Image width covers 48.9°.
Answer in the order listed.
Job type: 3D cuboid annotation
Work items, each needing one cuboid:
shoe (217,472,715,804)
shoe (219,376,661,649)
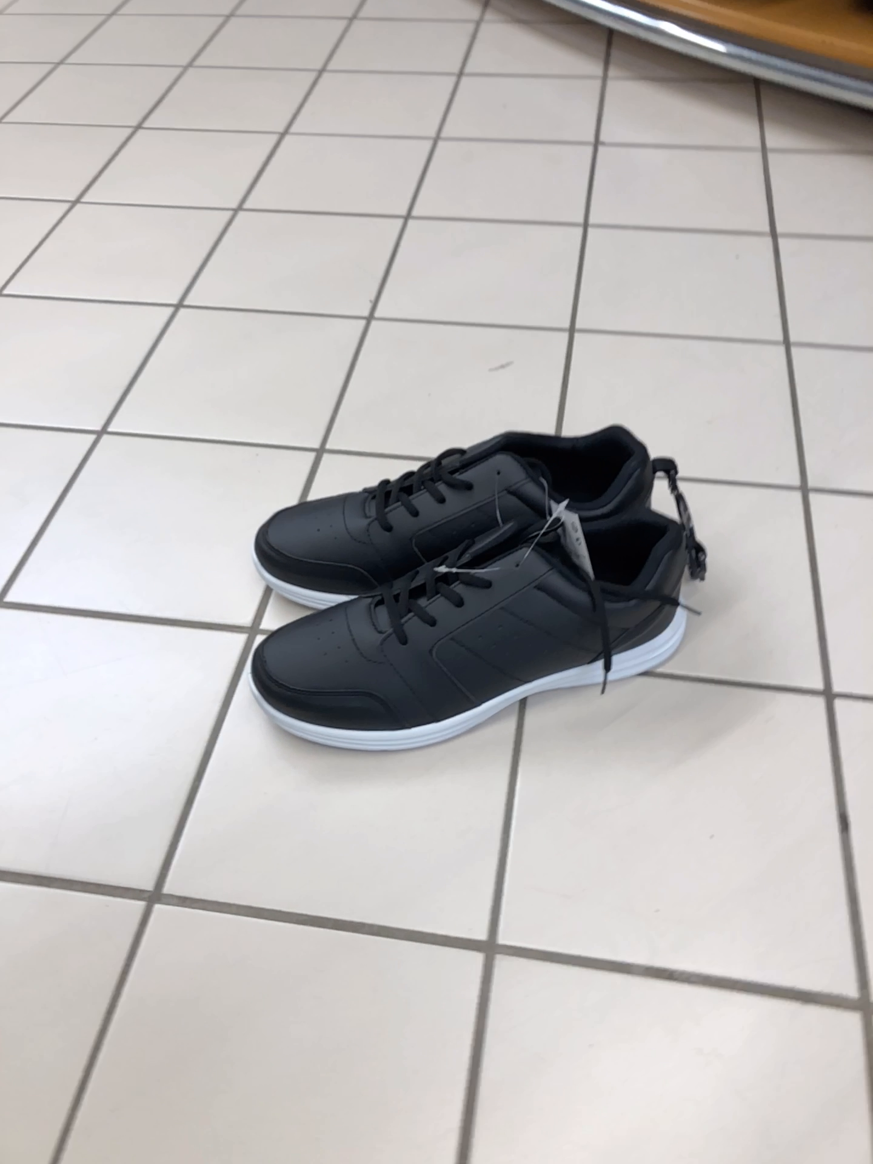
[{"bbox_3d":[0.017,0.035,0.640,0.290,0.119,0.110,-12,49,-8],"label":"shoe"},{"bbox_3d":[0.000,-0.051,0.704,0.290,0.119,0.111,-8,48,-4],"label":"shoe"}]
